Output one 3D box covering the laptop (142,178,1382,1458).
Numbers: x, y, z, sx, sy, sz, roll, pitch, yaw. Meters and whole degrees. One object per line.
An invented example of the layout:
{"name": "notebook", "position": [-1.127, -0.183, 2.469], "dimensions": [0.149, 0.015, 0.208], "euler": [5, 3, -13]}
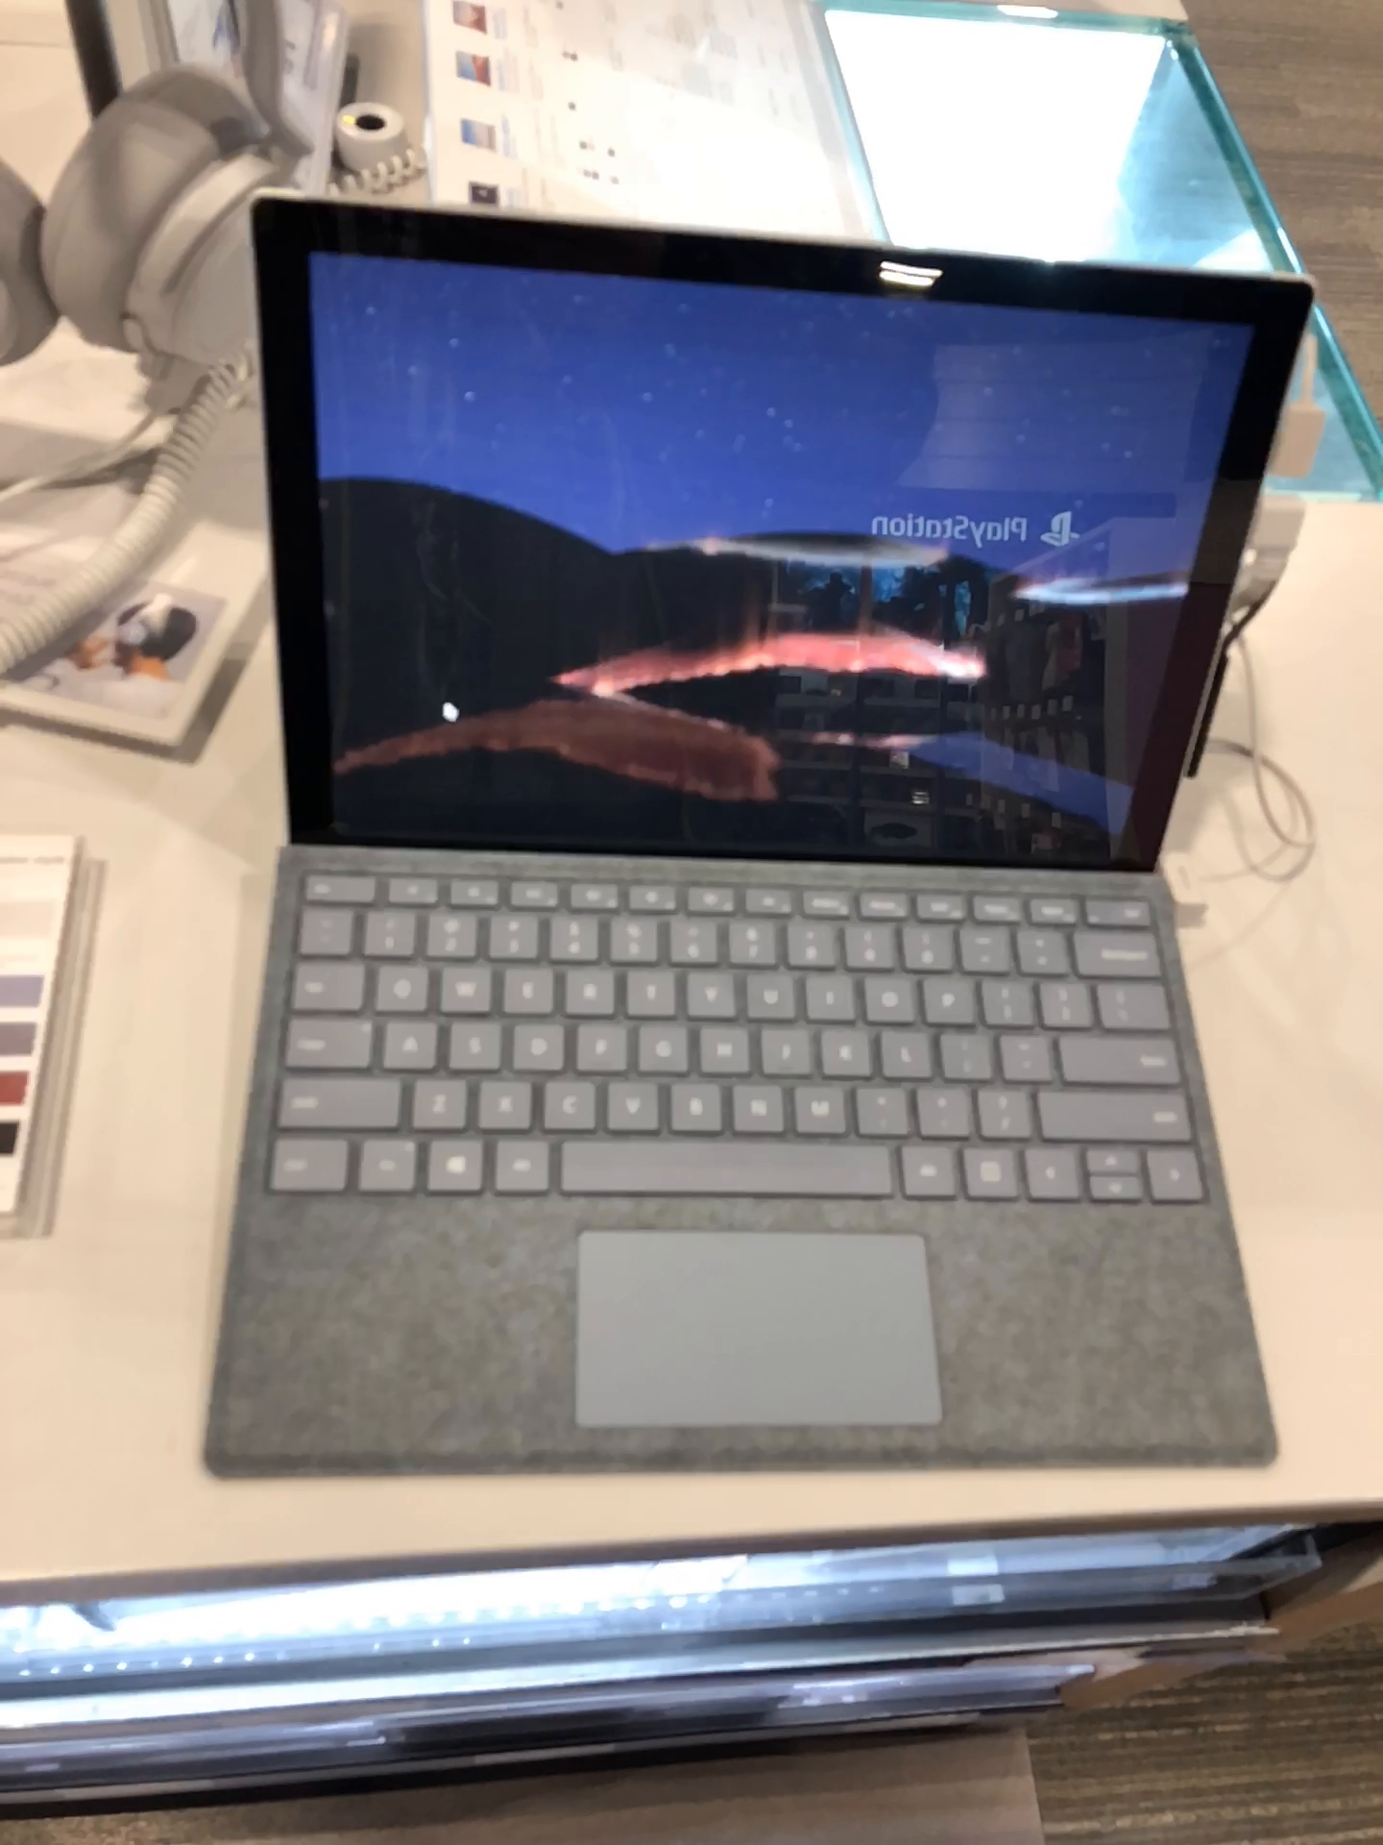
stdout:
{"name": "laptop", "position": [0.032, -0.030, 0.394], "dimensions": [0.261, 0.143, 0.284], "euler": [2, 62, -2]}
